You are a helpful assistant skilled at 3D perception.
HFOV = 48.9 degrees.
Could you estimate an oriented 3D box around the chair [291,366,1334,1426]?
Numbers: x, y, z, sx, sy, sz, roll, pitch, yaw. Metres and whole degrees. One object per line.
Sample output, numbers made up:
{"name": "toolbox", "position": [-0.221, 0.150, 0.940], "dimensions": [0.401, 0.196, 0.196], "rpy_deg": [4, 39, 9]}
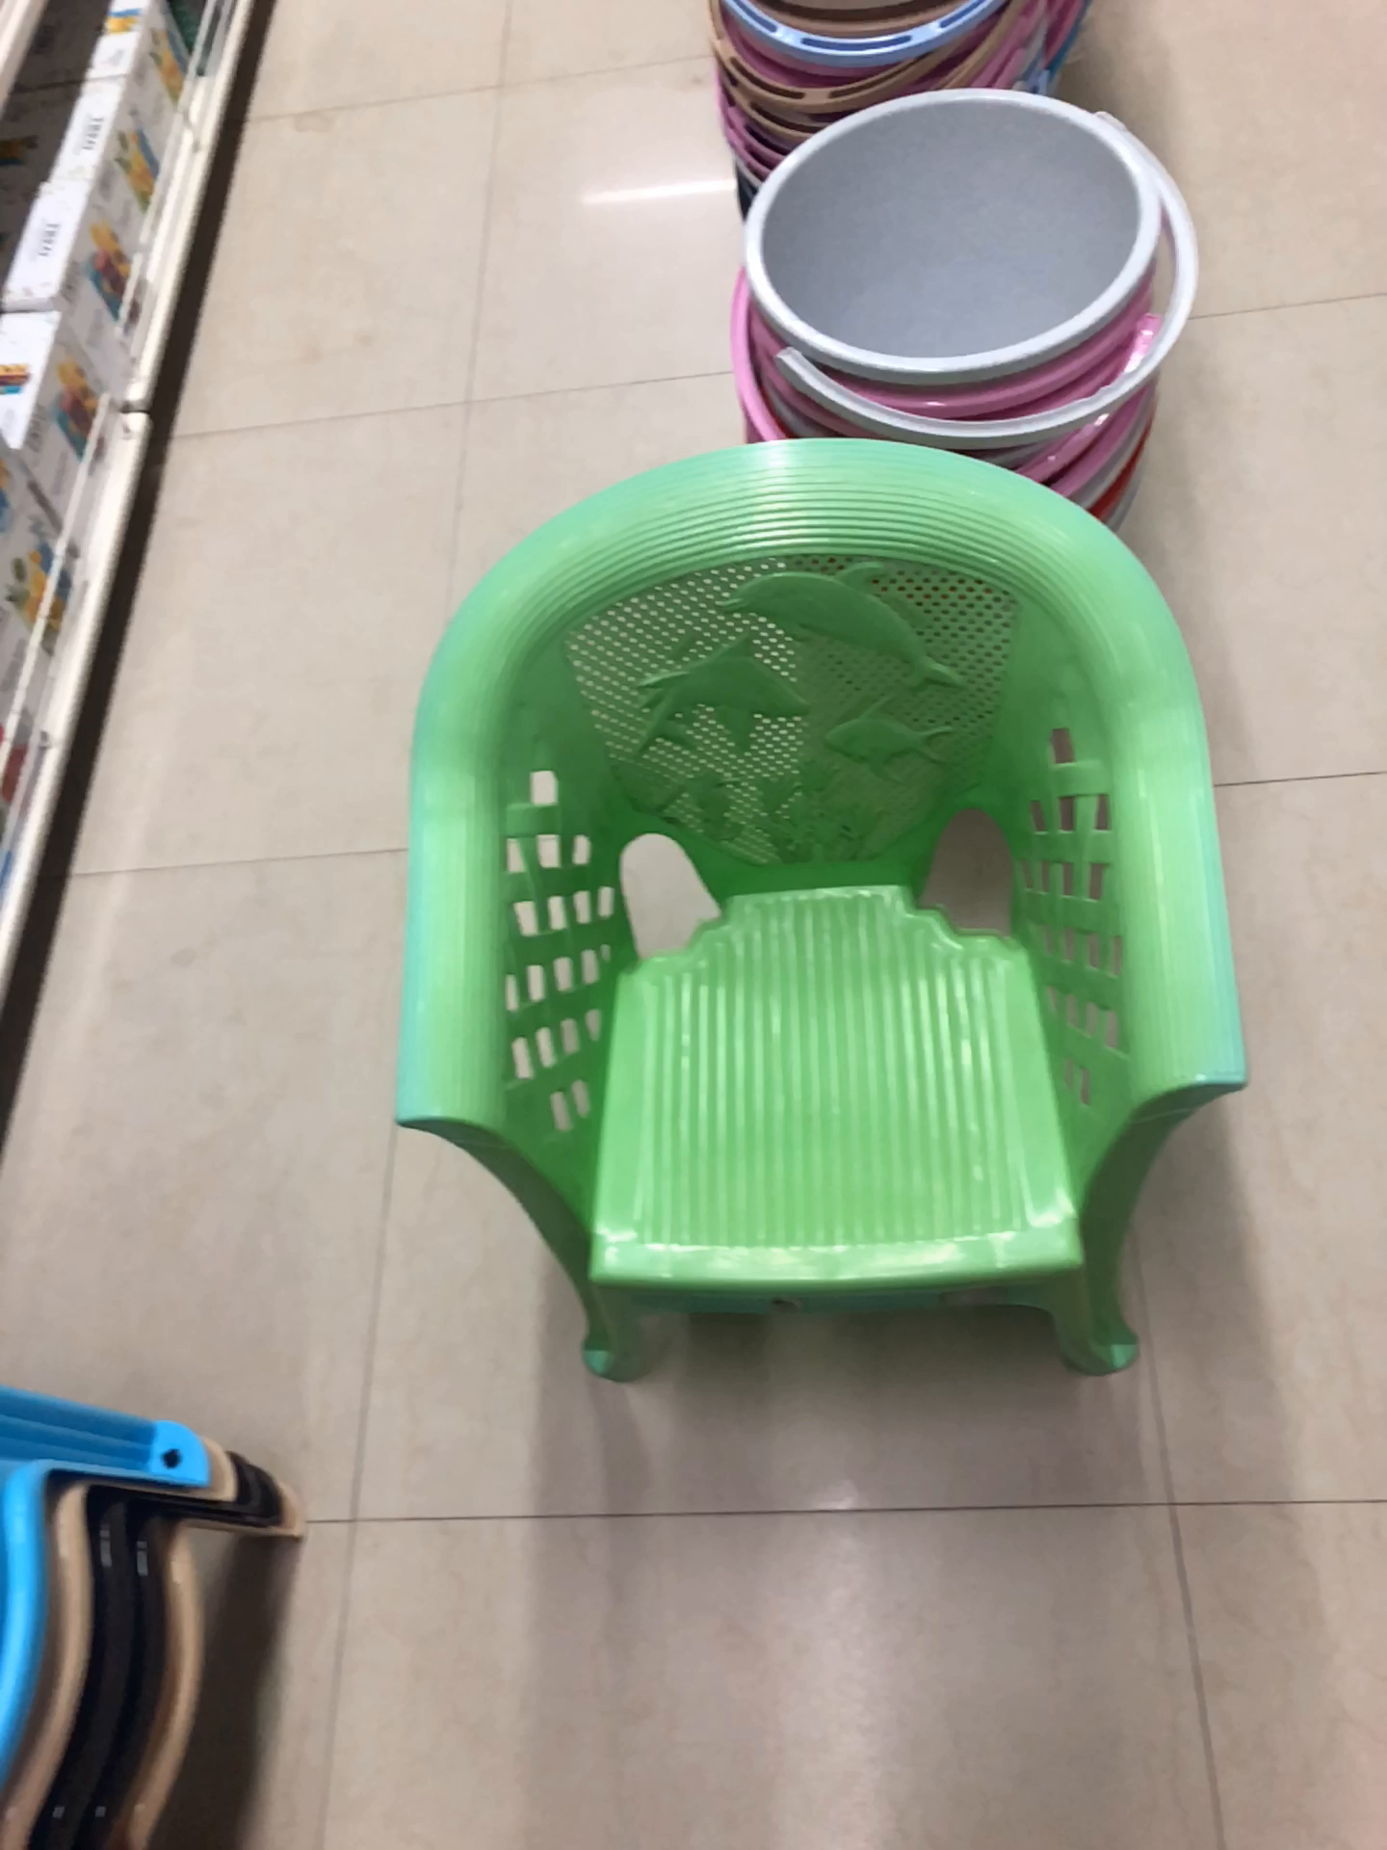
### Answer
{"name": "chair", "position": [0.088, 0.002, 0.911], "dimensions": [0.430, 0.398, 0.472], "rpy_deg": [1, 61, 10]}
